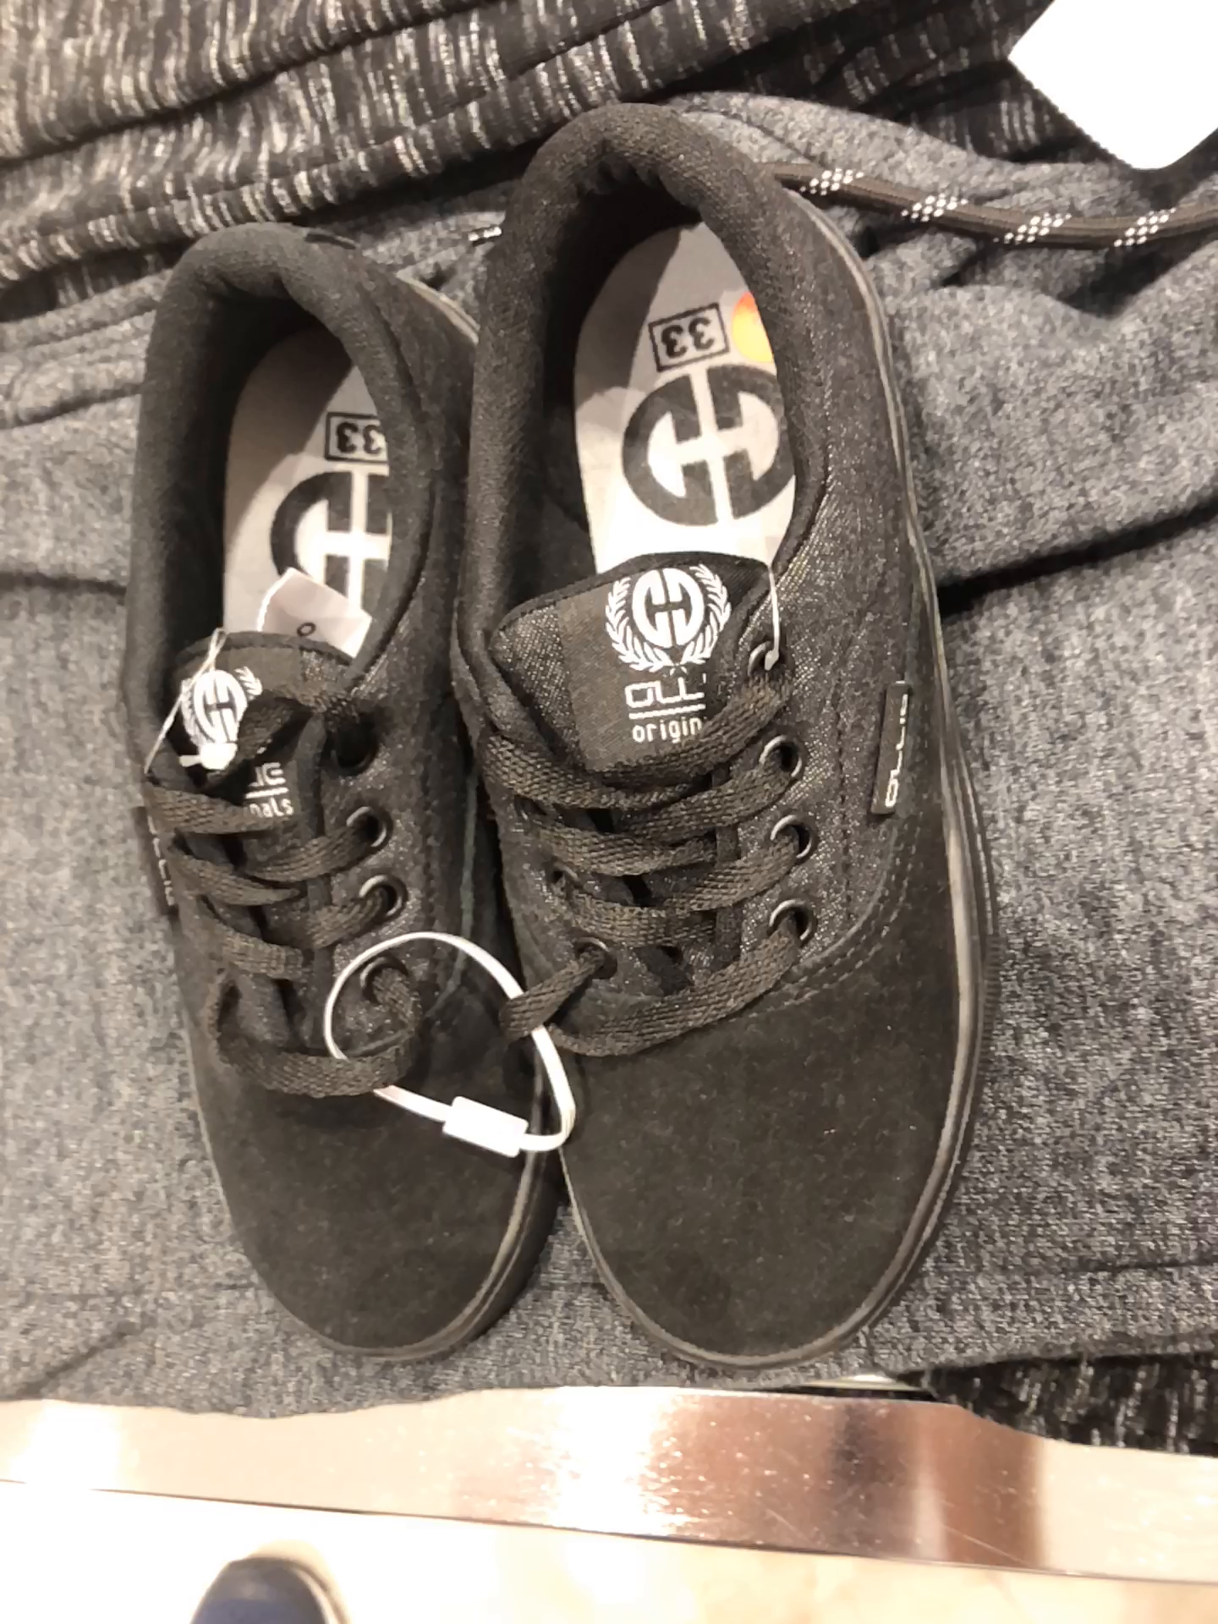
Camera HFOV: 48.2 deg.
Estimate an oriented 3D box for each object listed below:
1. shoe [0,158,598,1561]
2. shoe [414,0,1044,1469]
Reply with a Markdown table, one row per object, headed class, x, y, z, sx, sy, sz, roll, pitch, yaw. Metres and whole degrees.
| class | x | y | z | sx | sy | sz | roll | pitch | yaw |
| --- | --- | --- | --- | --- | --- | --- | --- | --- | --- |
| shoe | -0.057 | 0.006 | 0.262 | 0.090 | 0.080 | 0.220 | 0 | 86 | 13 |
| shoe | 0.024 | -0.016 | 0.262 | 0.090 | 0.080 | 0.240 | -4 | 86 | 12 |
